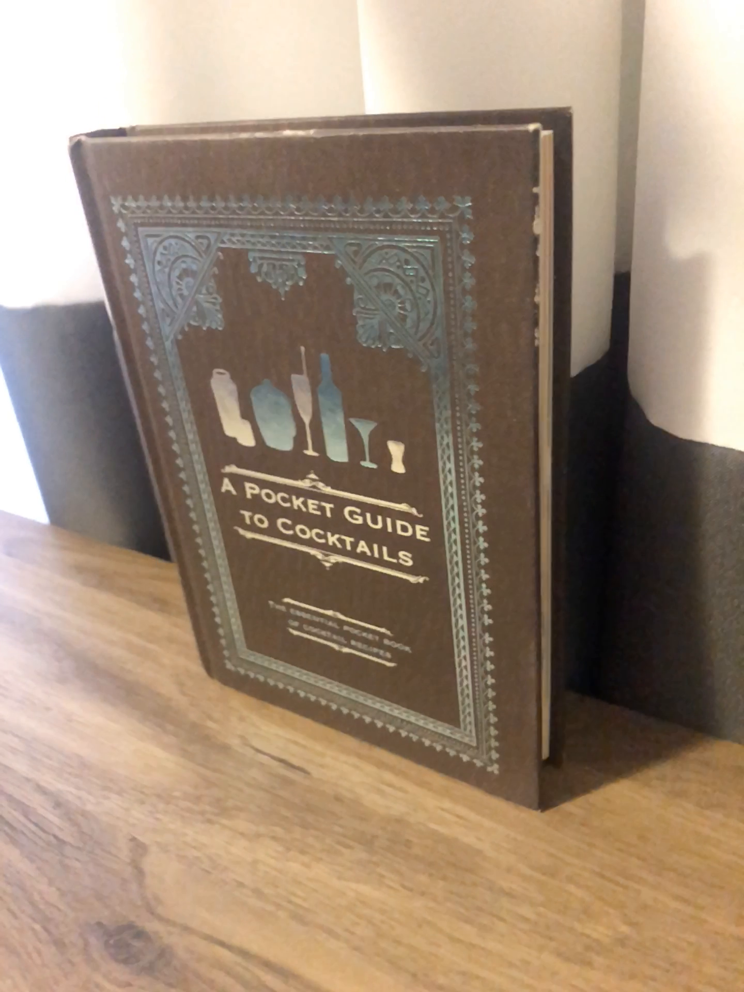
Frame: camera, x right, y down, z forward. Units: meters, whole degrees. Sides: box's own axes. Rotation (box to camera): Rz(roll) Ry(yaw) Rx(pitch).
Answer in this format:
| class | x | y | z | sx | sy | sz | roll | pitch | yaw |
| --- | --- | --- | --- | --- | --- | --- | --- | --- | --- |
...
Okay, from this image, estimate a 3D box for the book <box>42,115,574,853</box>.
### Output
| class | x | y | z | sx | sy | sz | roll | pitch | yaw |
| --- | --- | --- | --- | --- | --- | --- | --- | --- | --- |
| book | -0.012 | 0.002 | 0.242 | 0.137 | 0.200 | 0.022 | 12 | 35 | 30 |
